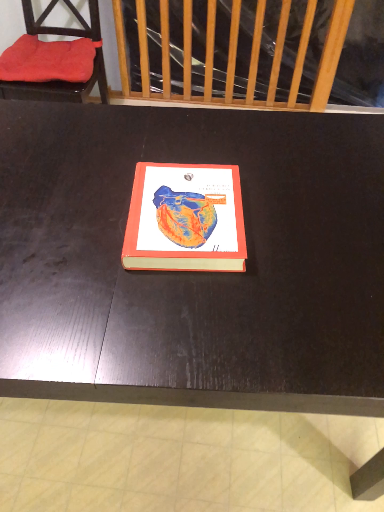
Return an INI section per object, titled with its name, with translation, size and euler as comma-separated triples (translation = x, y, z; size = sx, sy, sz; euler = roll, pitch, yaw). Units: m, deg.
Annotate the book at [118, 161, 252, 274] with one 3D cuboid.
[book]
translation = -0.013, -0.093, 0.909
size = 0.250, 0.050, 0.291
euler = 1, 49, 0
